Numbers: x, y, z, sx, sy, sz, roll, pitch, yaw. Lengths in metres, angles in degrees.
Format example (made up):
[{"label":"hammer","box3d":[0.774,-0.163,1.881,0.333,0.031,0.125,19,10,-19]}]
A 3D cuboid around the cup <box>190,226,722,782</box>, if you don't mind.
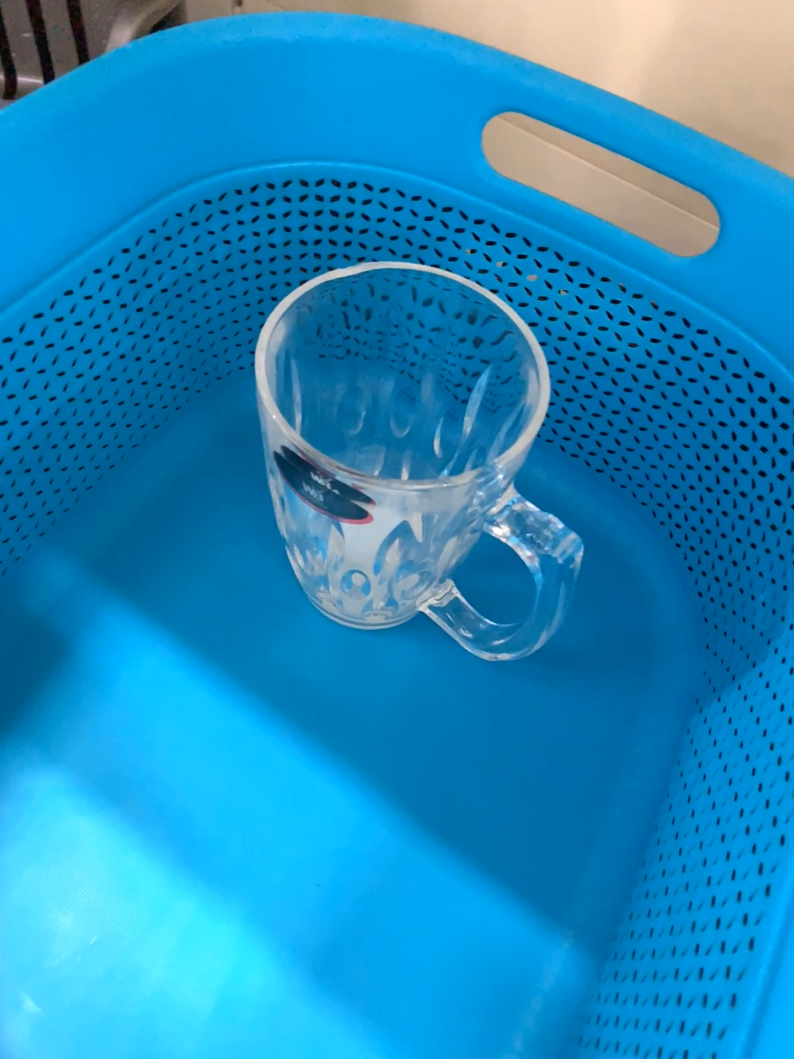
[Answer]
[{"label":"cup","box3d":[0.010,-0.003,0.254,0.110,0.109,0.080,37,61,15]}]
